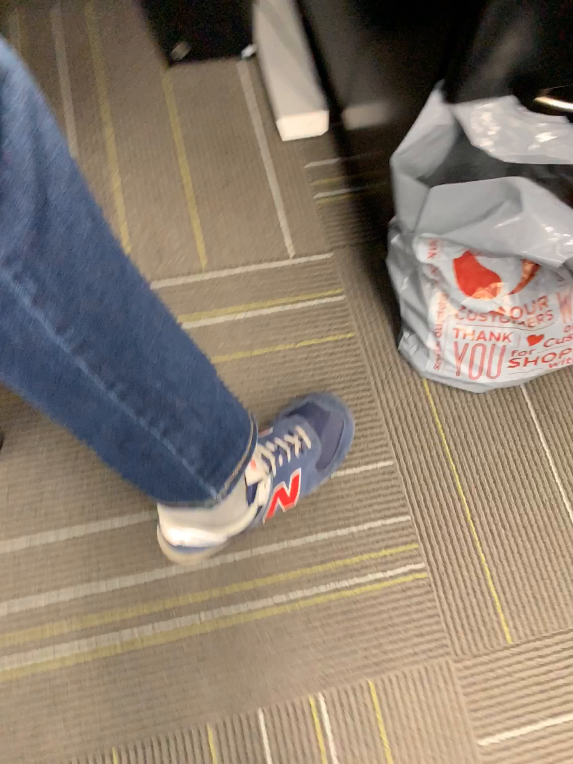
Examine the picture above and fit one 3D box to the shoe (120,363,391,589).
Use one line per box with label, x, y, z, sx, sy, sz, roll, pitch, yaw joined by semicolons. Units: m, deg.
shoe;-0.034;0.124;0.751;0.307;0.139;0.108;-33;75;-13
